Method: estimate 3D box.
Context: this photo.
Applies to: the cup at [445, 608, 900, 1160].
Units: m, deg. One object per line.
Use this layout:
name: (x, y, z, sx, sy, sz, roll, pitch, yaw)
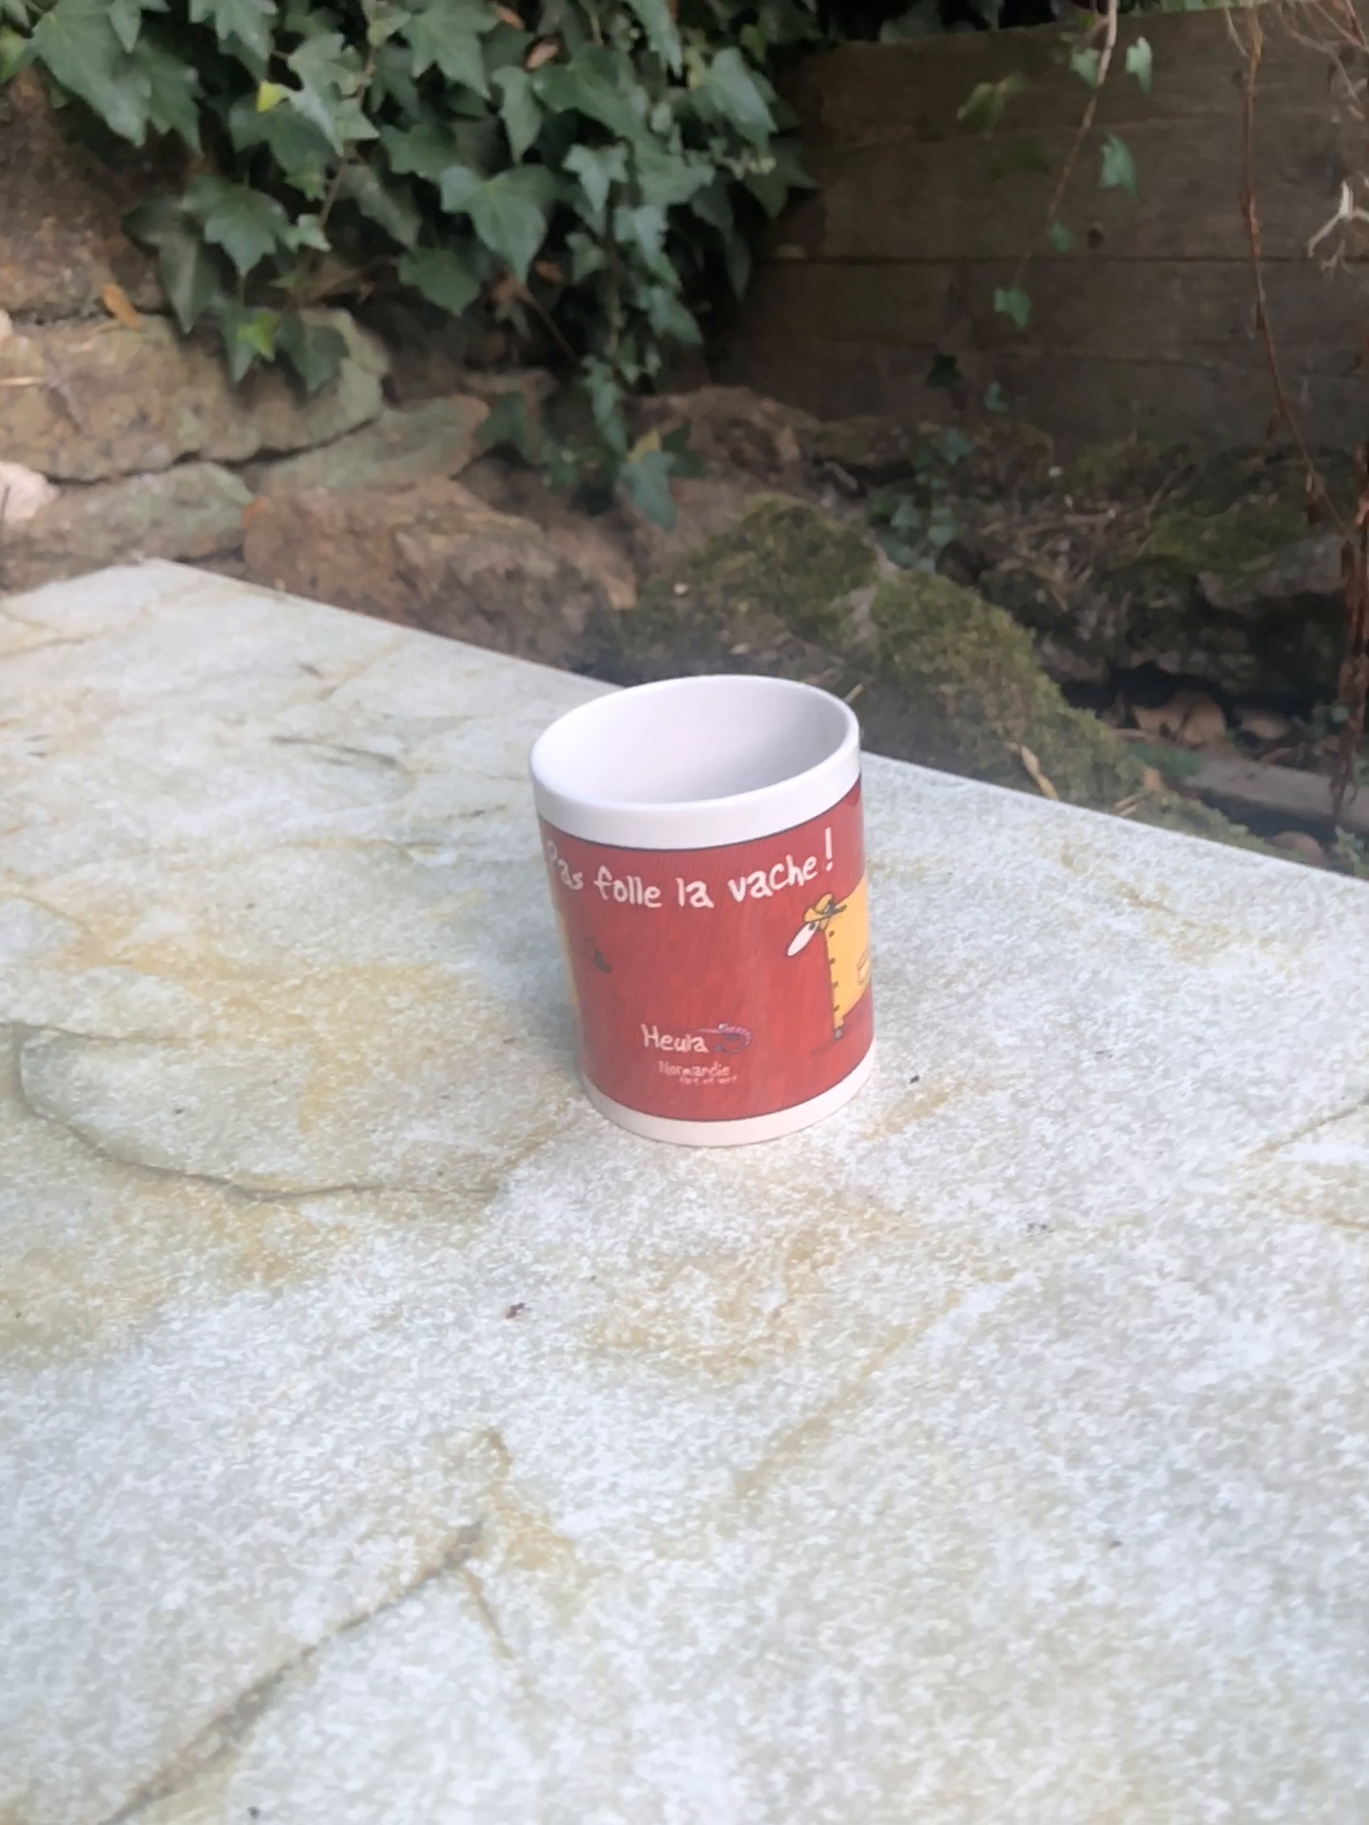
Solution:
cup: (0.007, -0.014, 0.384, 0.086, 0.083, 0.130, 0, 31, 11)
